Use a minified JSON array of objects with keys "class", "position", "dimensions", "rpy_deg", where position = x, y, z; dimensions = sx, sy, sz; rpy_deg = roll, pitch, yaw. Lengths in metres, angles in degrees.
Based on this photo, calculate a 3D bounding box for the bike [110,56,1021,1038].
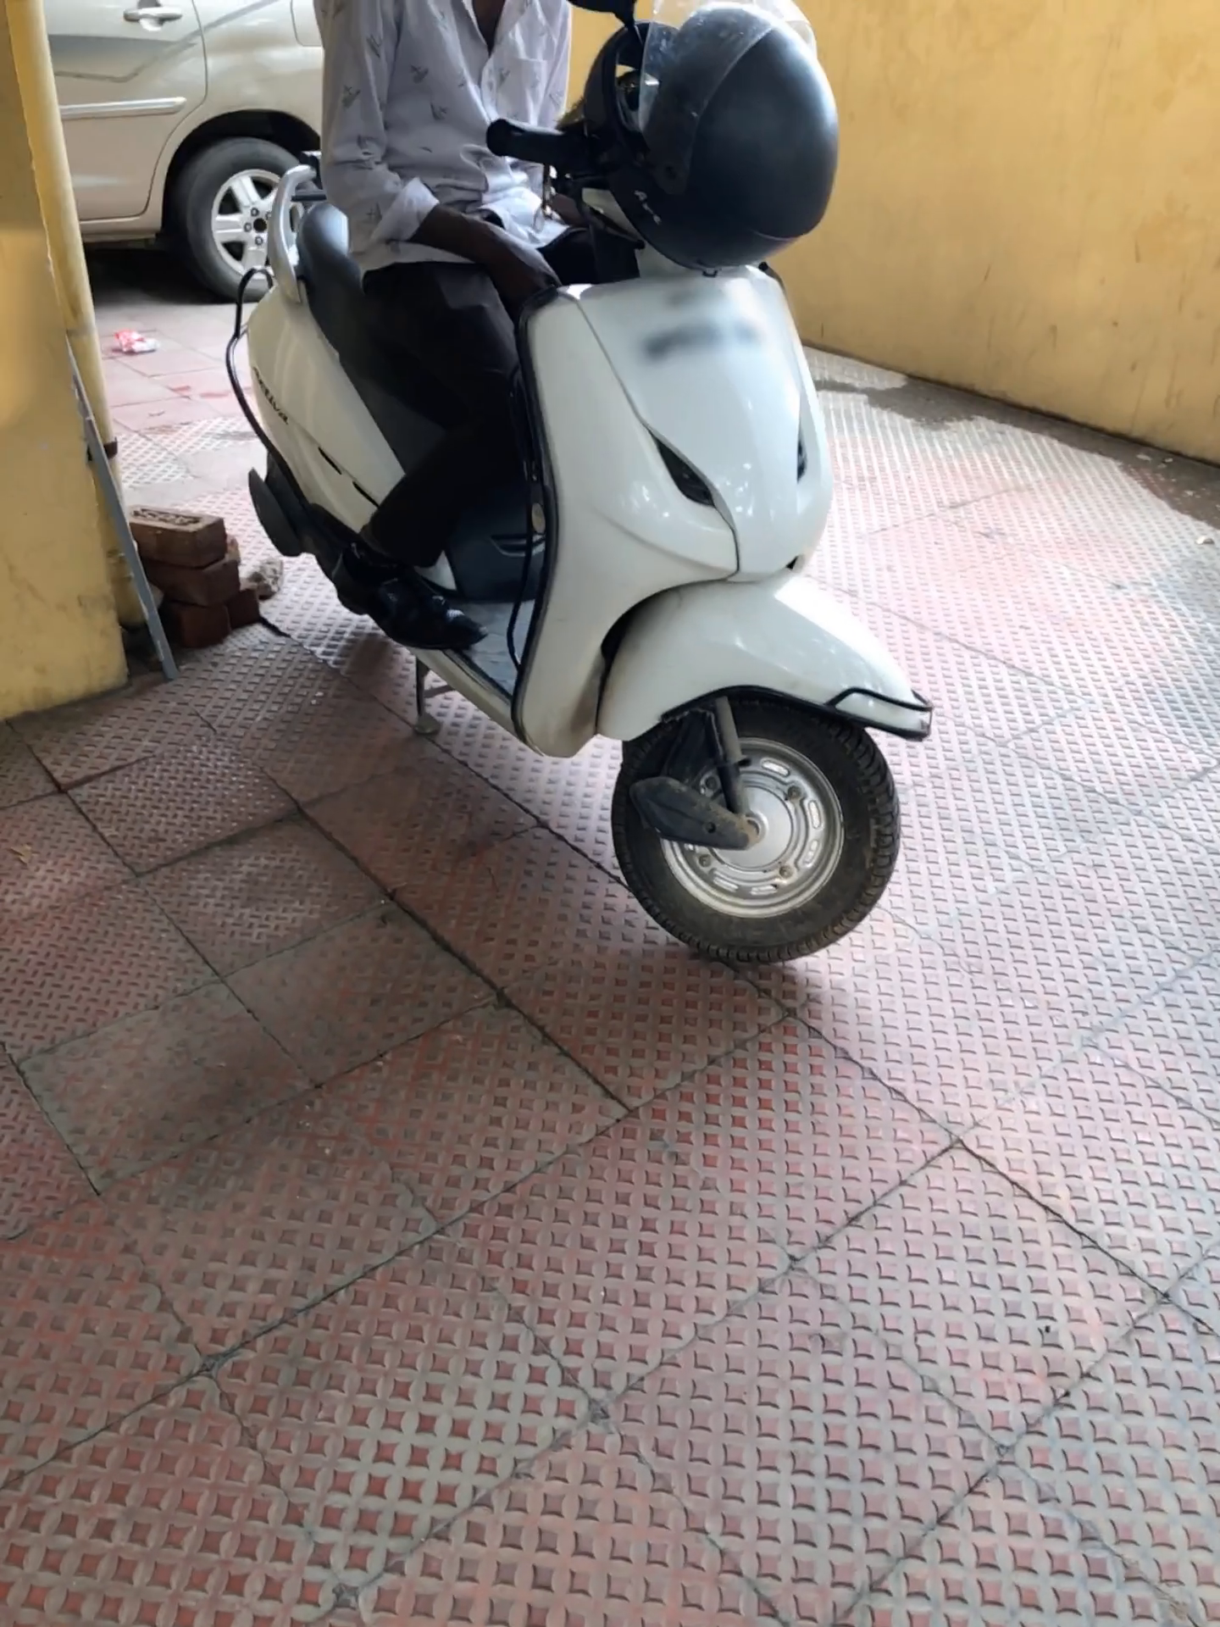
[{"class":"bike","position":[-0.169,-0.573,2.309],"dimensions":[0.660,1.107,1.391],"rpy_deg":[-22,42,-33]}]
